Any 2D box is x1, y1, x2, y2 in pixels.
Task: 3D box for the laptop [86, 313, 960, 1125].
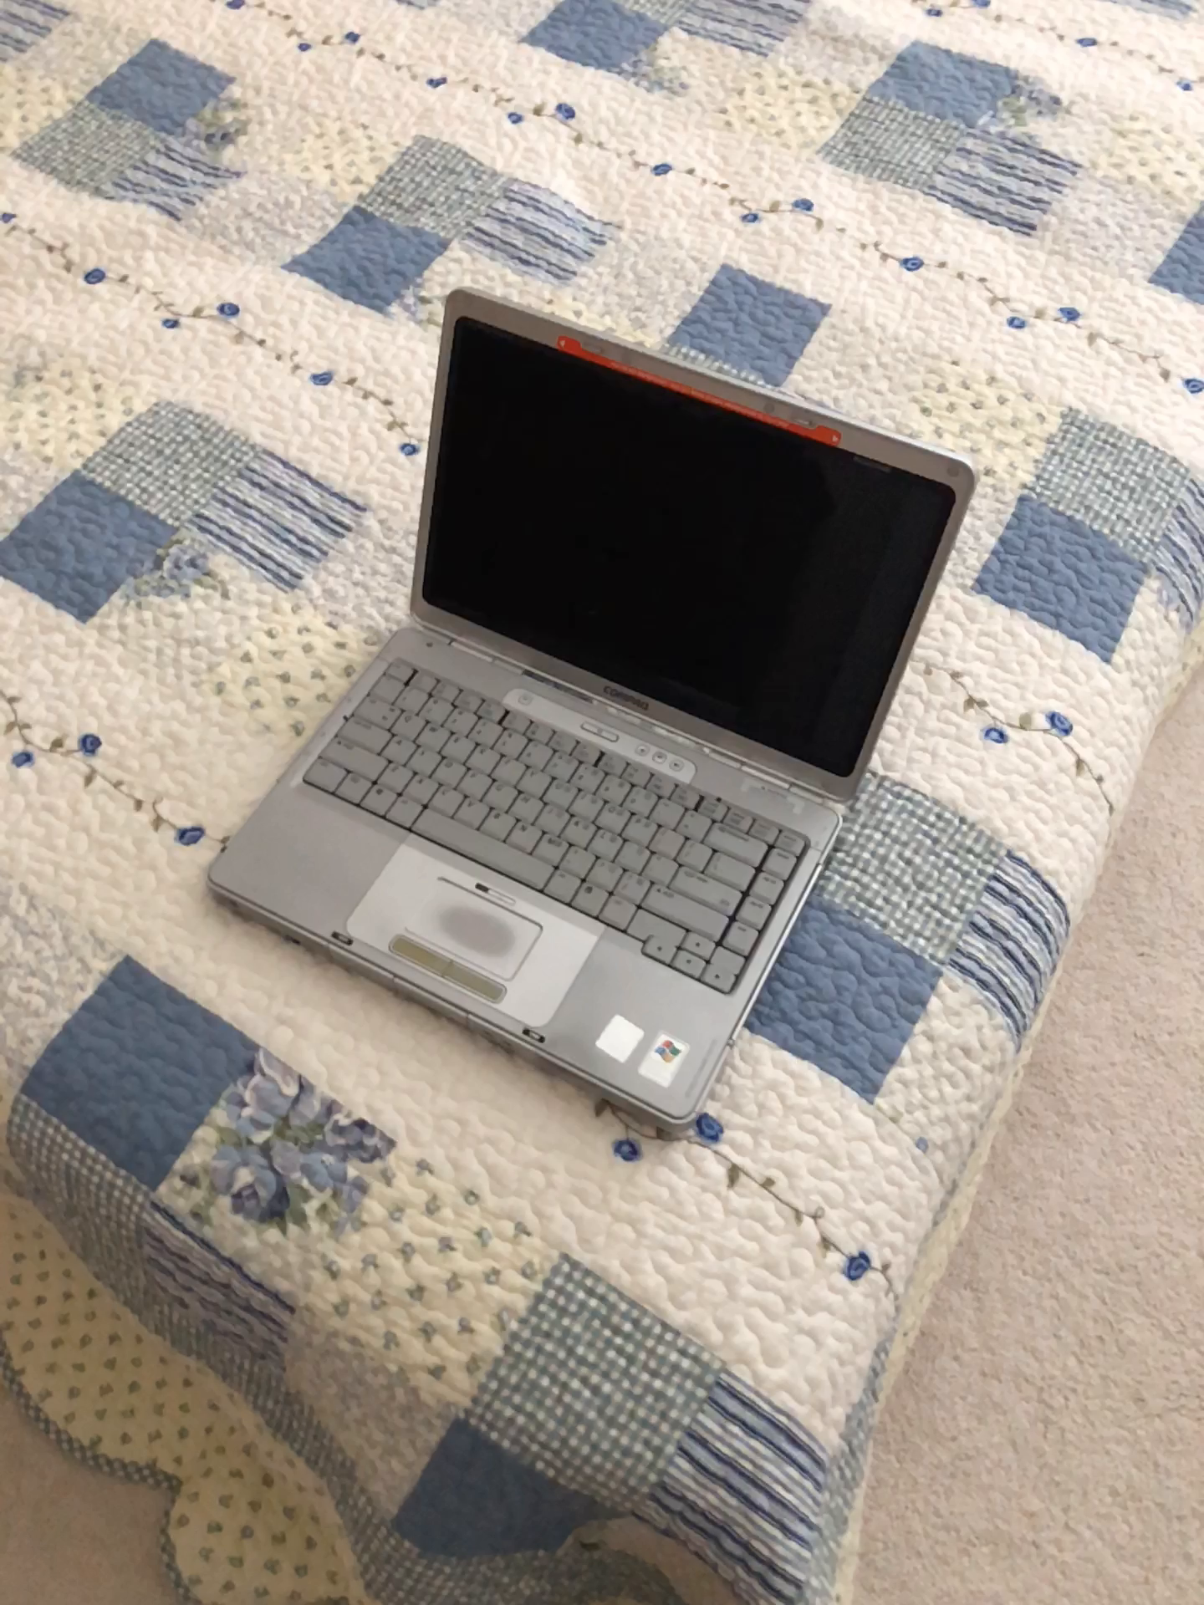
[{"bbox_3d":[-0.025,-0.058,0.752,0.322,0.193,0.327,24,61,15],"label":"laptop"}]
